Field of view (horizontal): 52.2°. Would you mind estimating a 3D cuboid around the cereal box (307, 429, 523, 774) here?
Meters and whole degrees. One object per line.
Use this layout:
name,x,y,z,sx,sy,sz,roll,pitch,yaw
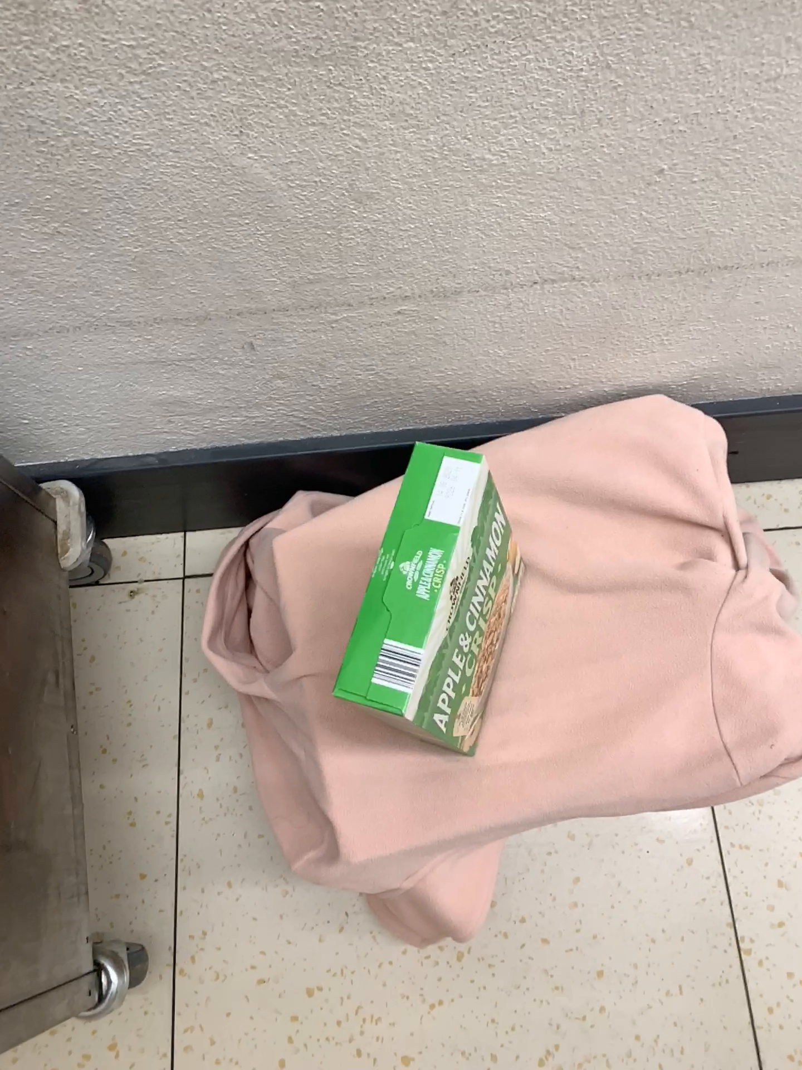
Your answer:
cereal box,0.029,0.068,0.623,0.060,0.259,0.191,13,73,17
